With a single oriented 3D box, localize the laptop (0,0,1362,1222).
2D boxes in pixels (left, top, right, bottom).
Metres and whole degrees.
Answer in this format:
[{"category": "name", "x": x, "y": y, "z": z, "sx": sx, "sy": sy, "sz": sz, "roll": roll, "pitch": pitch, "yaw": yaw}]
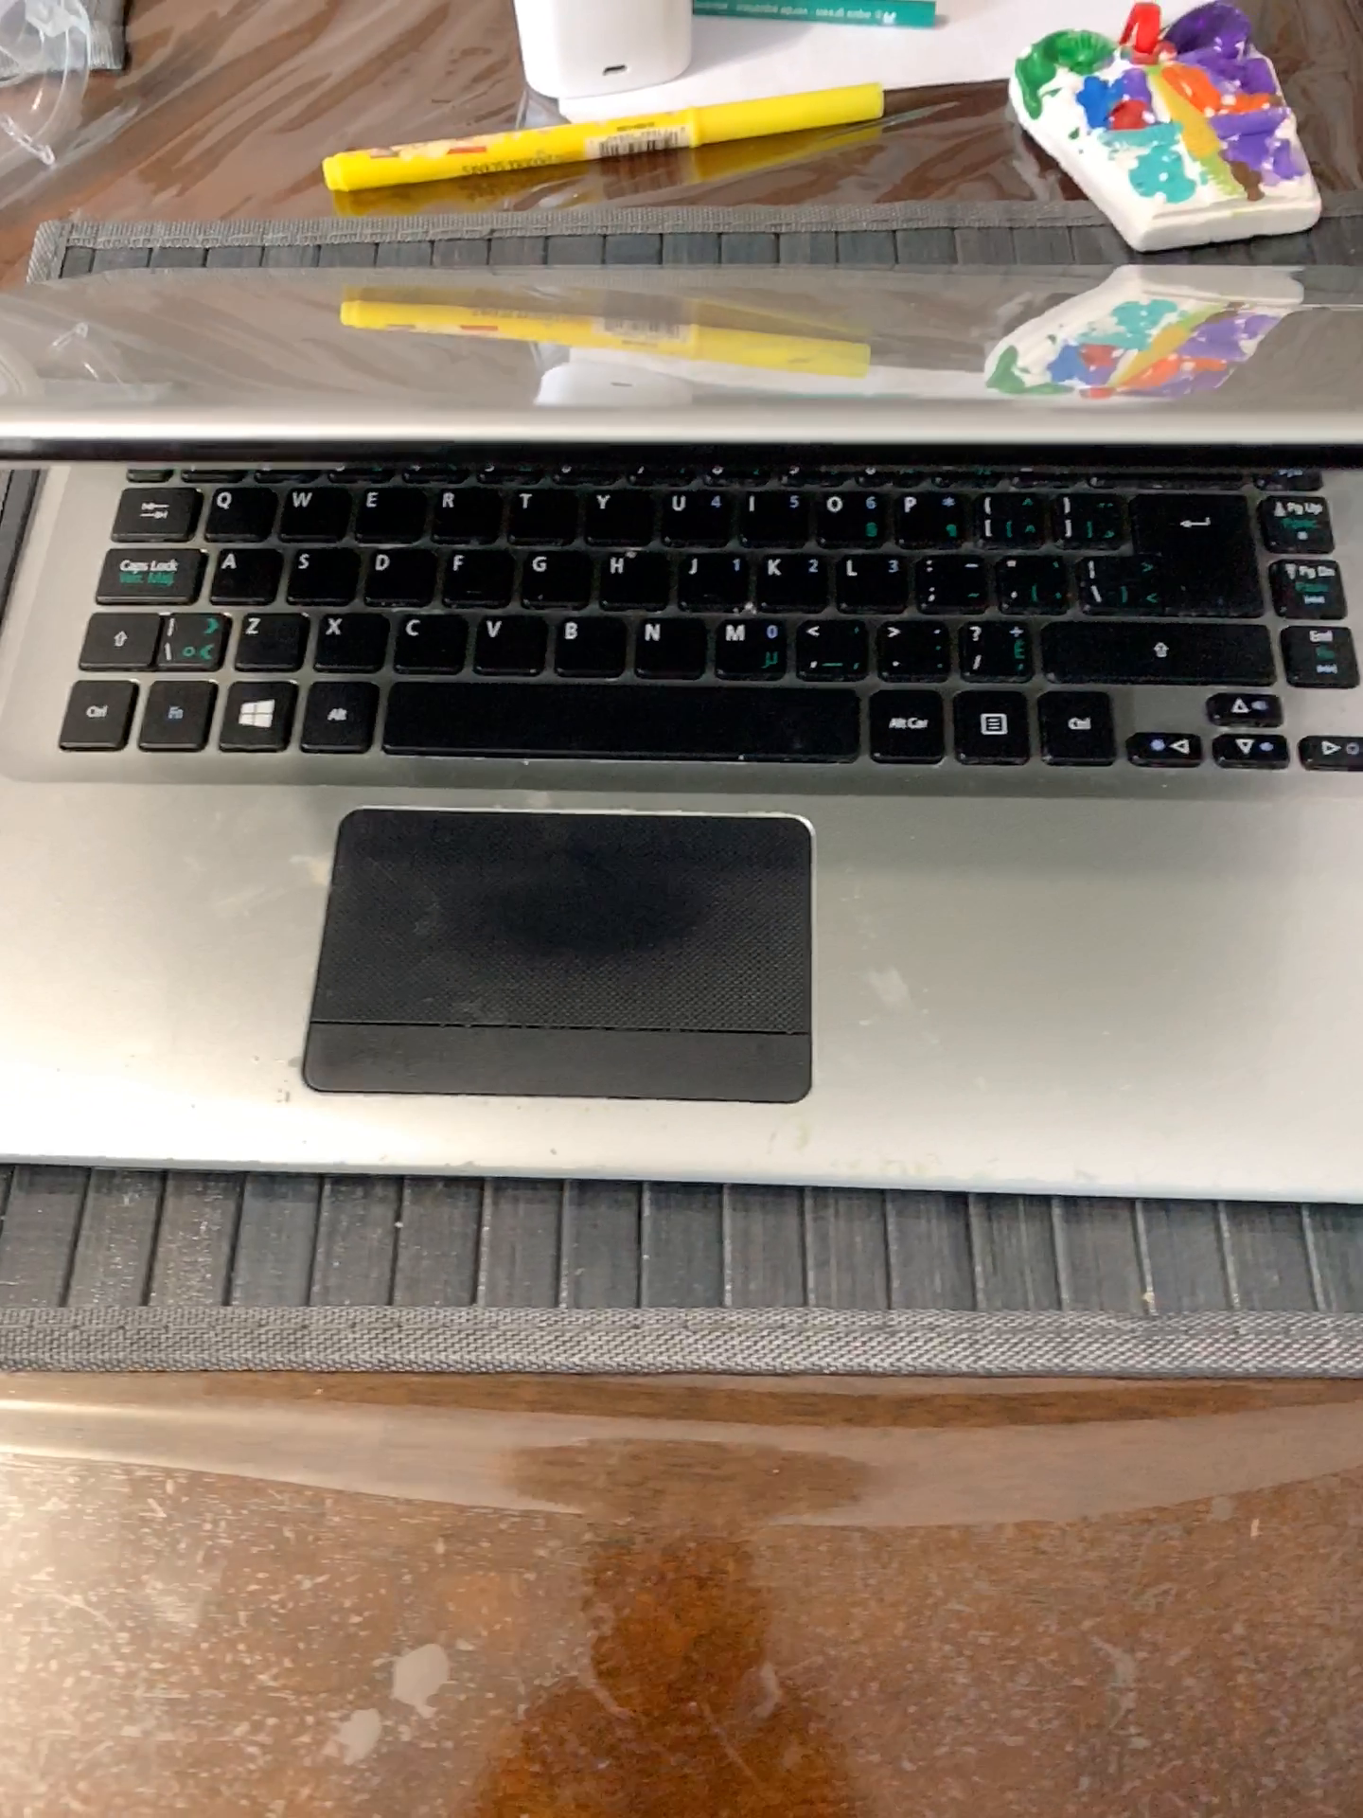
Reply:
[{"category": "laptop", "x": 0.002, "y": -0.081, "z": 0.265, "sx": 0.344, "sy": 0.145, "sz": 0.236, "roll": 1, "pitch": 65, "yaw": 3}]
